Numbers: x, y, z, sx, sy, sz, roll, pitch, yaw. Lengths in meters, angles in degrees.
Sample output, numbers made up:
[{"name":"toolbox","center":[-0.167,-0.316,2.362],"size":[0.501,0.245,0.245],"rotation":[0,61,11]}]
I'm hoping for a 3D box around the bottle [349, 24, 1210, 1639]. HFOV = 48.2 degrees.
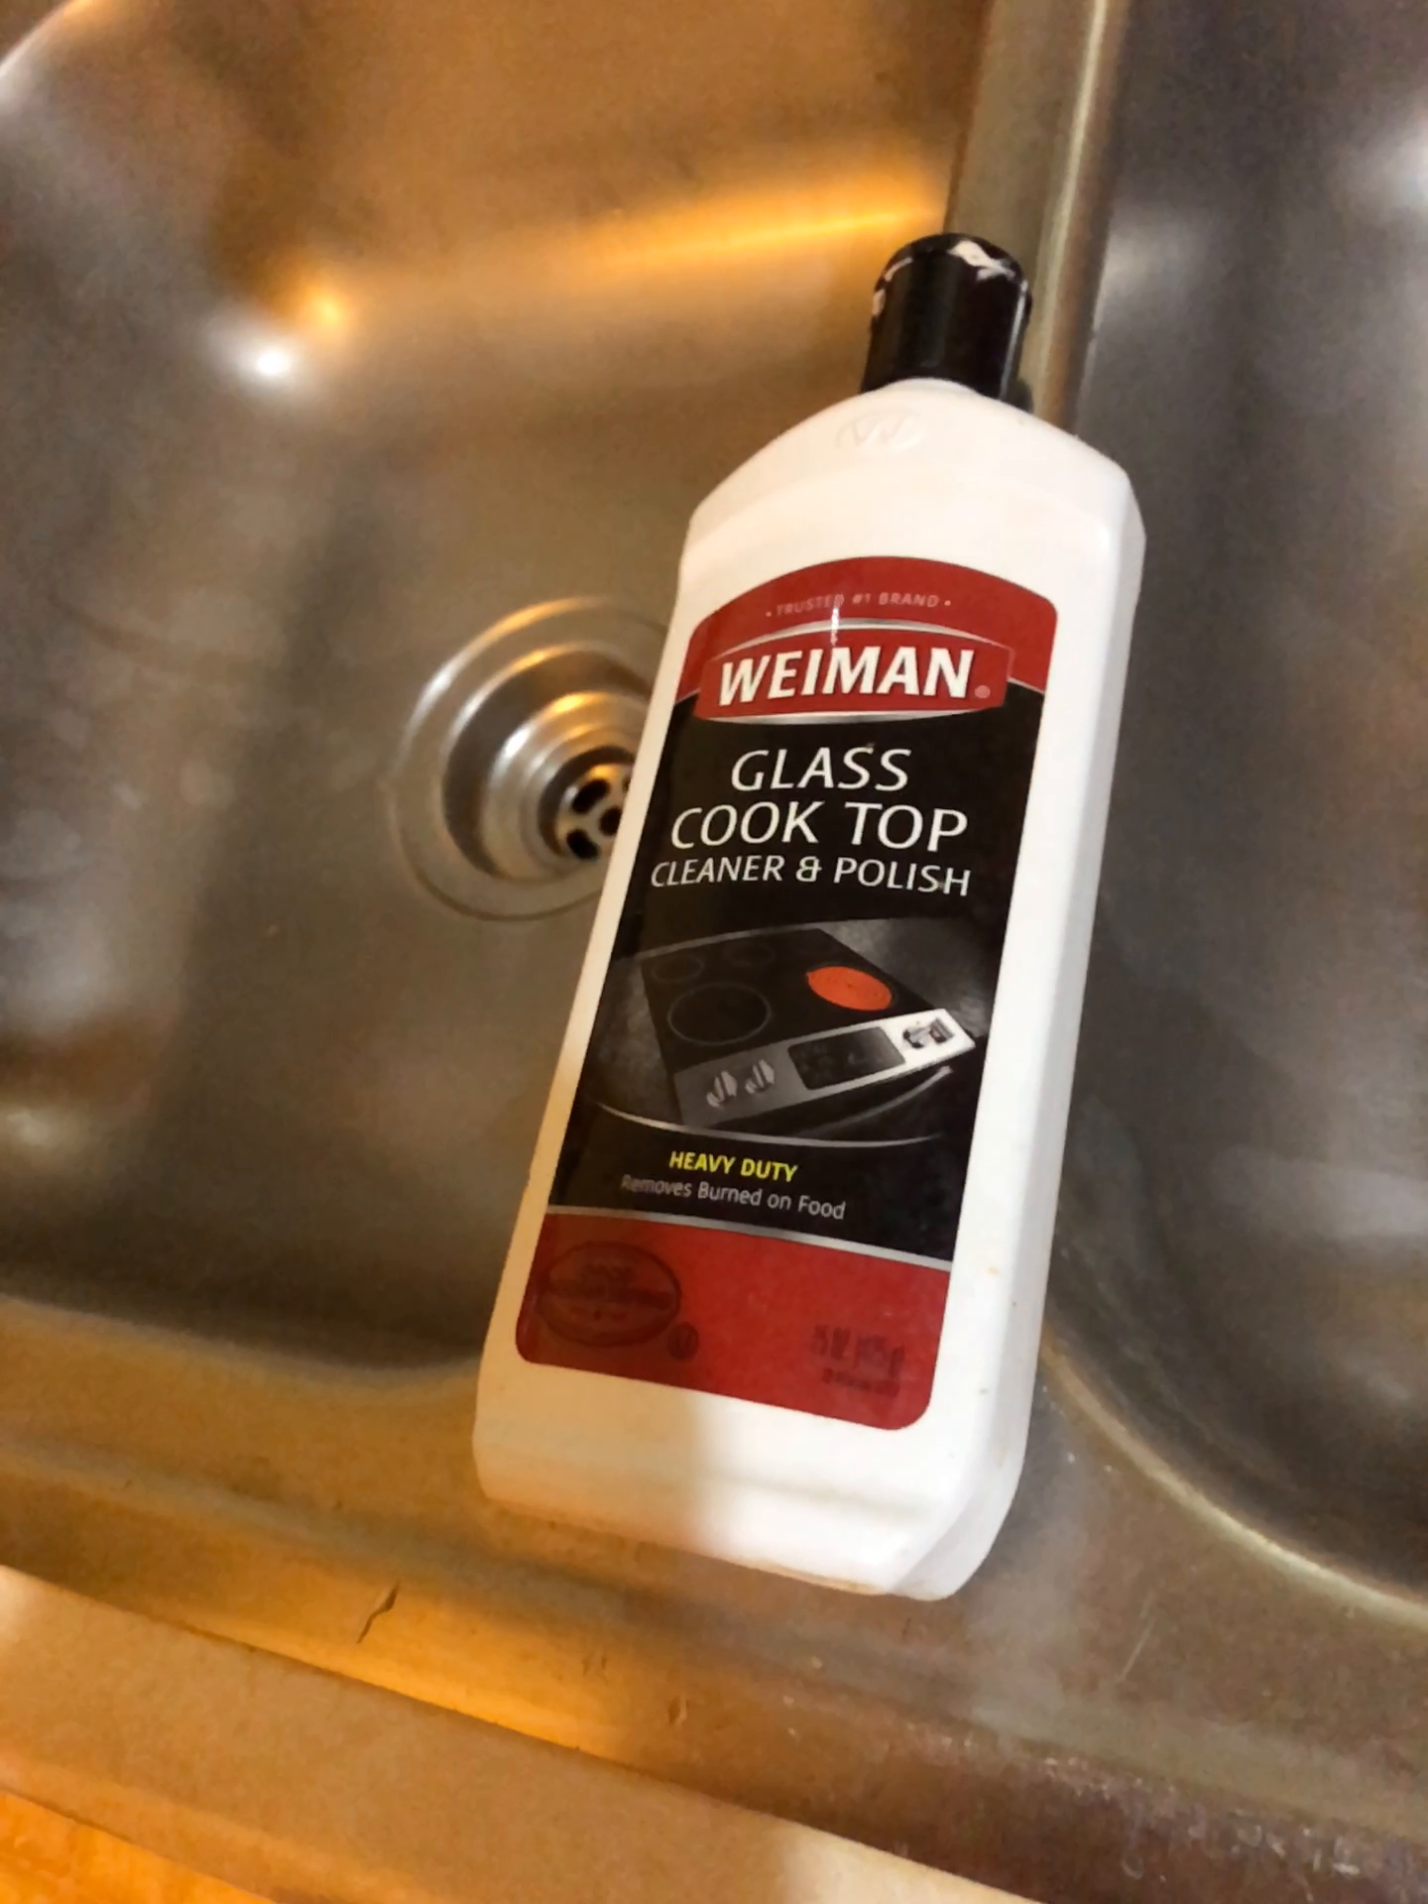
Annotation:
[{"name":"bottle","center":[0.021,-0.028,0.254],"size":[0.080,0.050,0.240],"rotation":[2,68,28]}]
